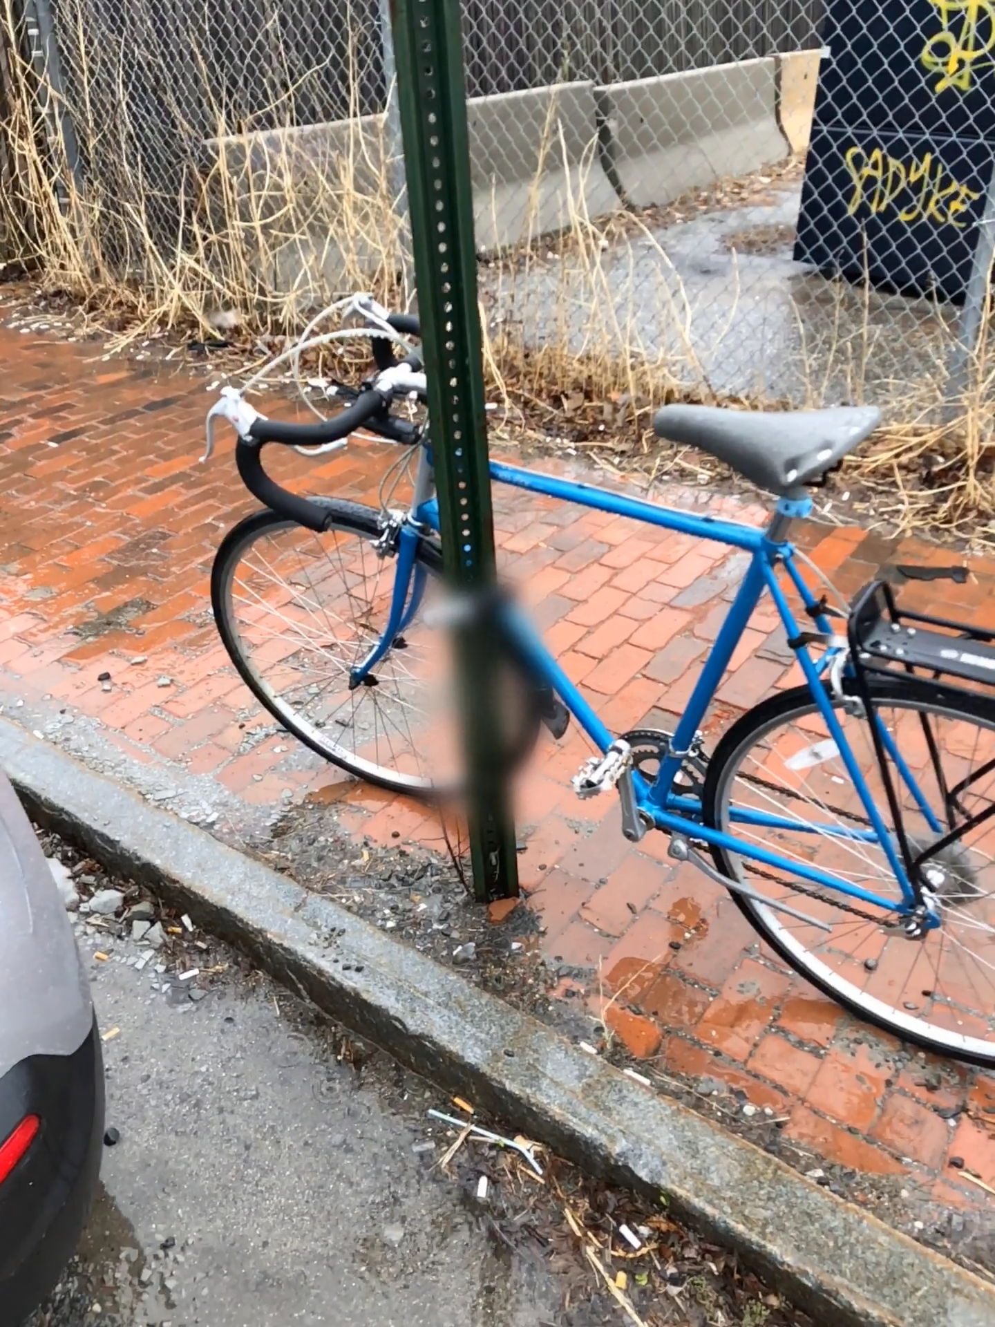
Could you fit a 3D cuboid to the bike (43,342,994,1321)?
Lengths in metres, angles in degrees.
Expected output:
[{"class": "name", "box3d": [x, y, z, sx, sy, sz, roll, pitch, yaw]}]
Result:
[{"class": "bike", "box3d": [0.140, 0.114, 1.816, 1.866, 0.919, 0.474, 19, 37, 28]}]
